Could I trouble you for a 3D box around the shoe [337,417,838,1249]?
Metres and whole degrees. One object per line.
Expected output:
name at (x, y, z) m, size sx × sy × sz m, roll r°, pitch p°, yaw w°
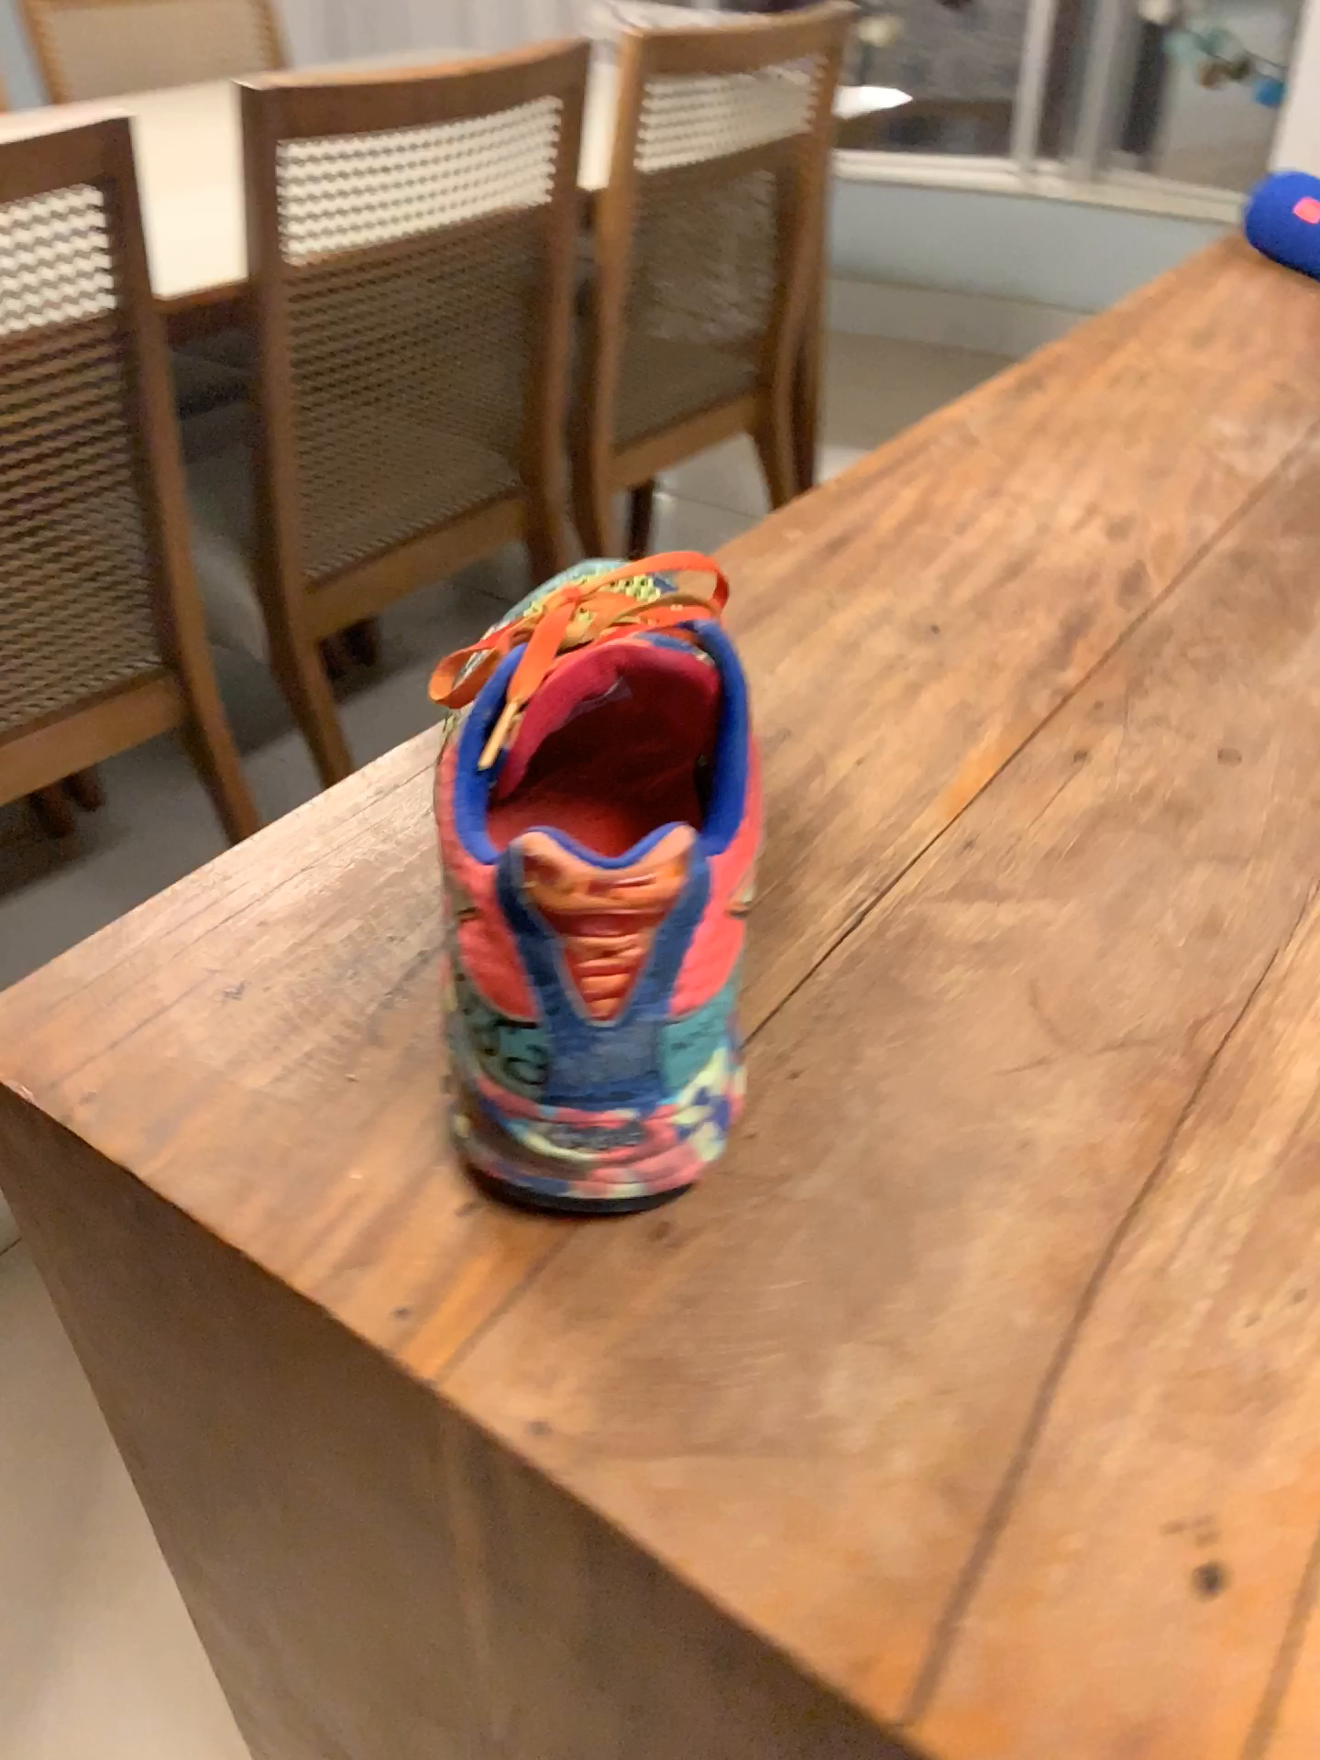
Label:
shoe at (-0.024, -0.043, 0.457) m, size 0.110 × 0.118 × 0.312 m, roll -2°, pitch 37°, yaw -3°
